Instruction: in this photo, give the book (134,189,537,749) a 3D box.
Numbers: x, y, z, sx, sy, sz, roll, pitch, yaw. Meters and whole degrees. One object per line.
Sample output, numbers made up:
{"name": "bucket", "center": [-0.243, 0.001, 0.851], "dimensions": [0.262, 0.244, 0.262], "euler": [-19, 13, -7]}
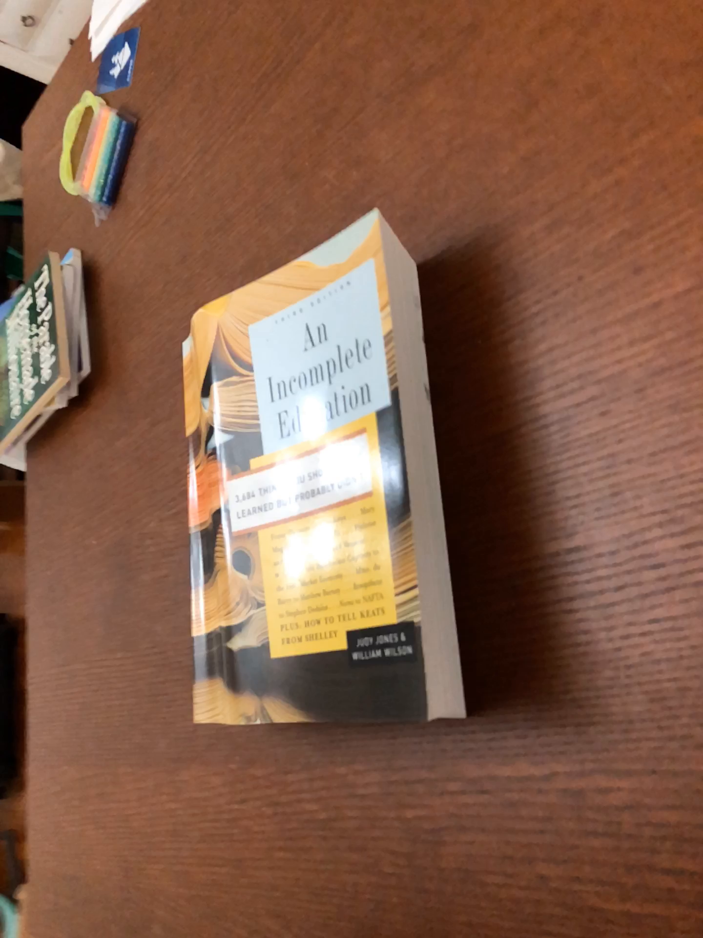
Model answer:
{"name": "book", "center": [-0.028, 0.015, 0.424], "dimensions": [0.211, 0.060, 0.250], "euler": [-18, 71, 37]}
